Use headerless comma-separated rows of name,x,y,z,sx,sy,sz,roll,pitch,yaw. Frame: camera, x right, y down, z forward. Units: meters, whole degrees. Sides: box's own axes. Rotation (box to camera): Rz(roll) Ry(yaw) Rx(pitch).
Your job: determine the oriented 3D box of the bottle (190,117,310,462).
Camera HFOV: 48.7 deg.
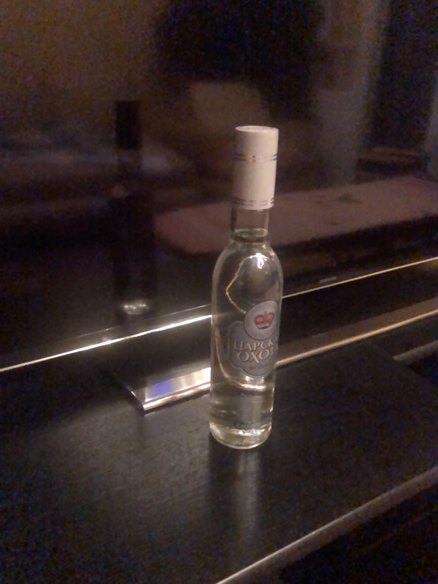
bottle,0.020,0.005,0.422,0.064,0.290,0.067,1,25,0
